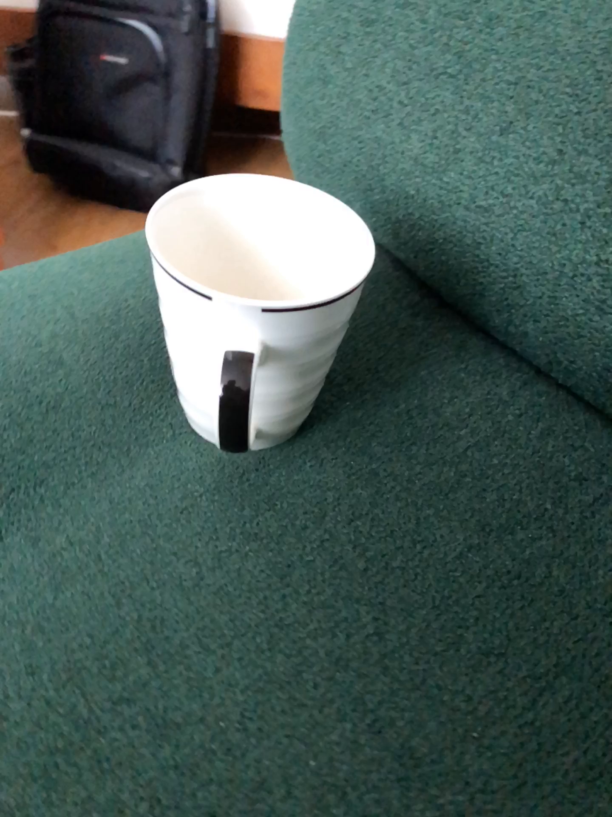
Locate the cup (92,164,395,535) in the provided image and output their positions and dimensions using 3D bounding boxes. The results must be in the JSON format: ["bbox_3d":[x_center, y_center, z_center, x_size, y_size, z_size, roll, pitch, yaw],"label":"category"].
[{"bbox_3d":[-0.021,-0.027,0.288,0.095,0.095,0.121,5,45,-2],"label":"cup"}]
